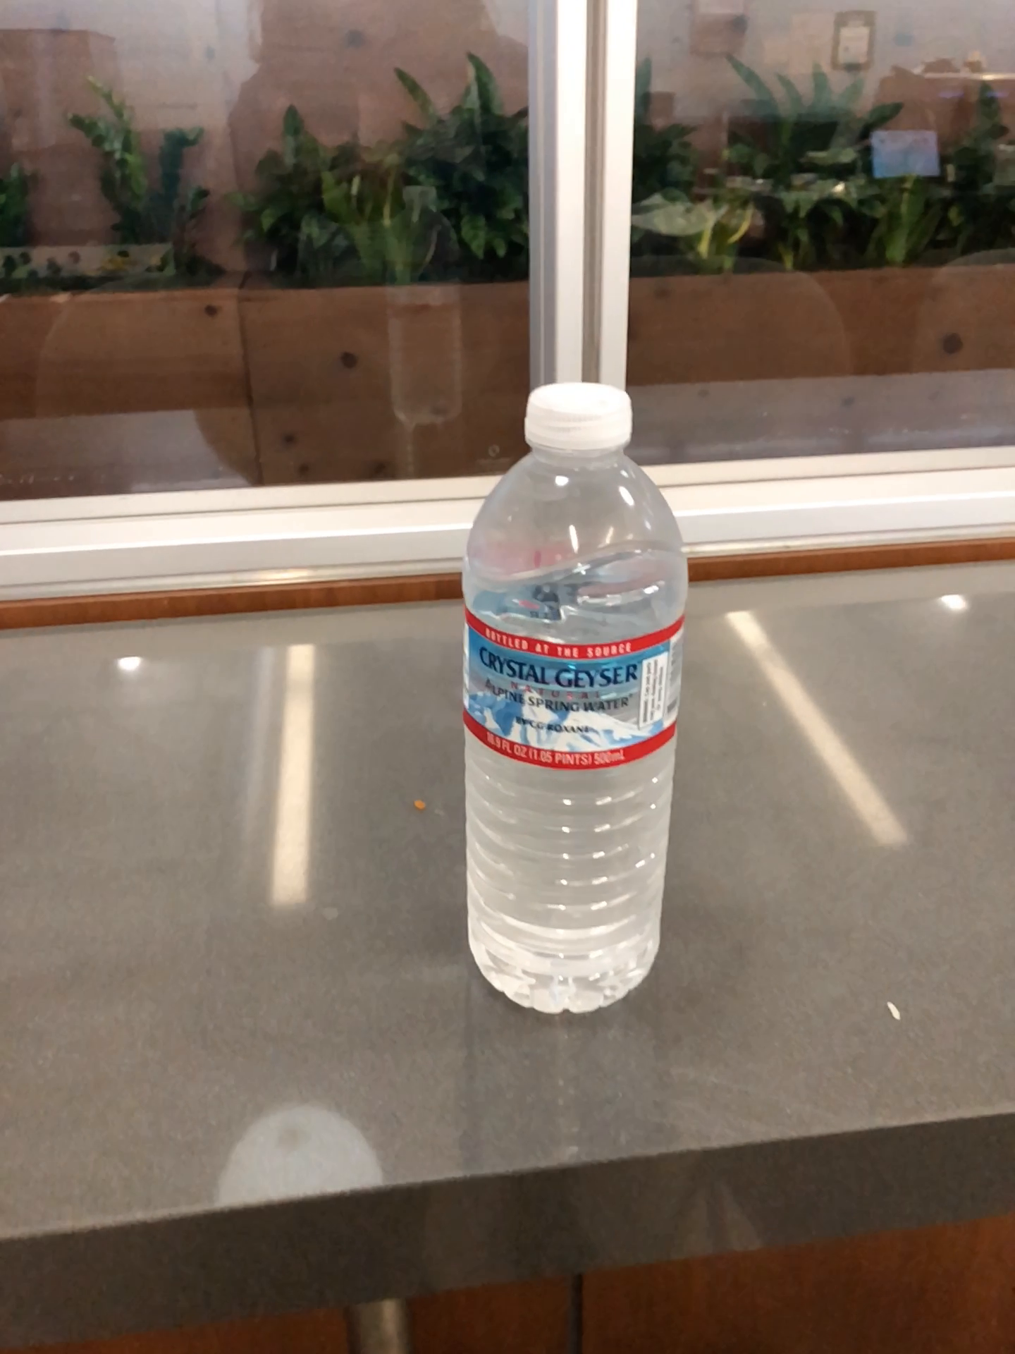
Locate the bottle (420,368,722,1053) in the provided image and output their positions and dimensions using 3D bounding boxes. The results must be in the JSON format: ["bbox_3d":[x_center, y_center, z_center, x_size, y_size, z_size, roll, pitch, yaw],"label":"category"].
[{"bbox_3d":[0.022,0.012,0.338,0.070,0.189,0.070,-1,27,0],"label":"bottle"}]
